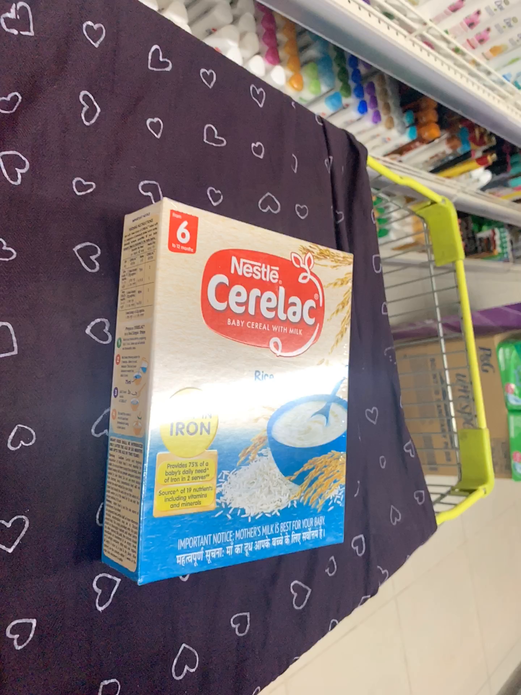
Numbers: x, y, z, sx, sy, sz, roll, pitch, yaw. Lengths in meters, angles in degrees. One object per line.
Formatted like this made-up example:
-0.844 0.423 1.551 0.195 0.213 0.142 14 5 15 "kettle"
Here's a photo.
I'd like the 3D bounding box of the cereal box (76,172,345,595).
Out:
-0.018 0.021 0.323 0.161 0.040 0.200 6 83 -41 "cereal box"
